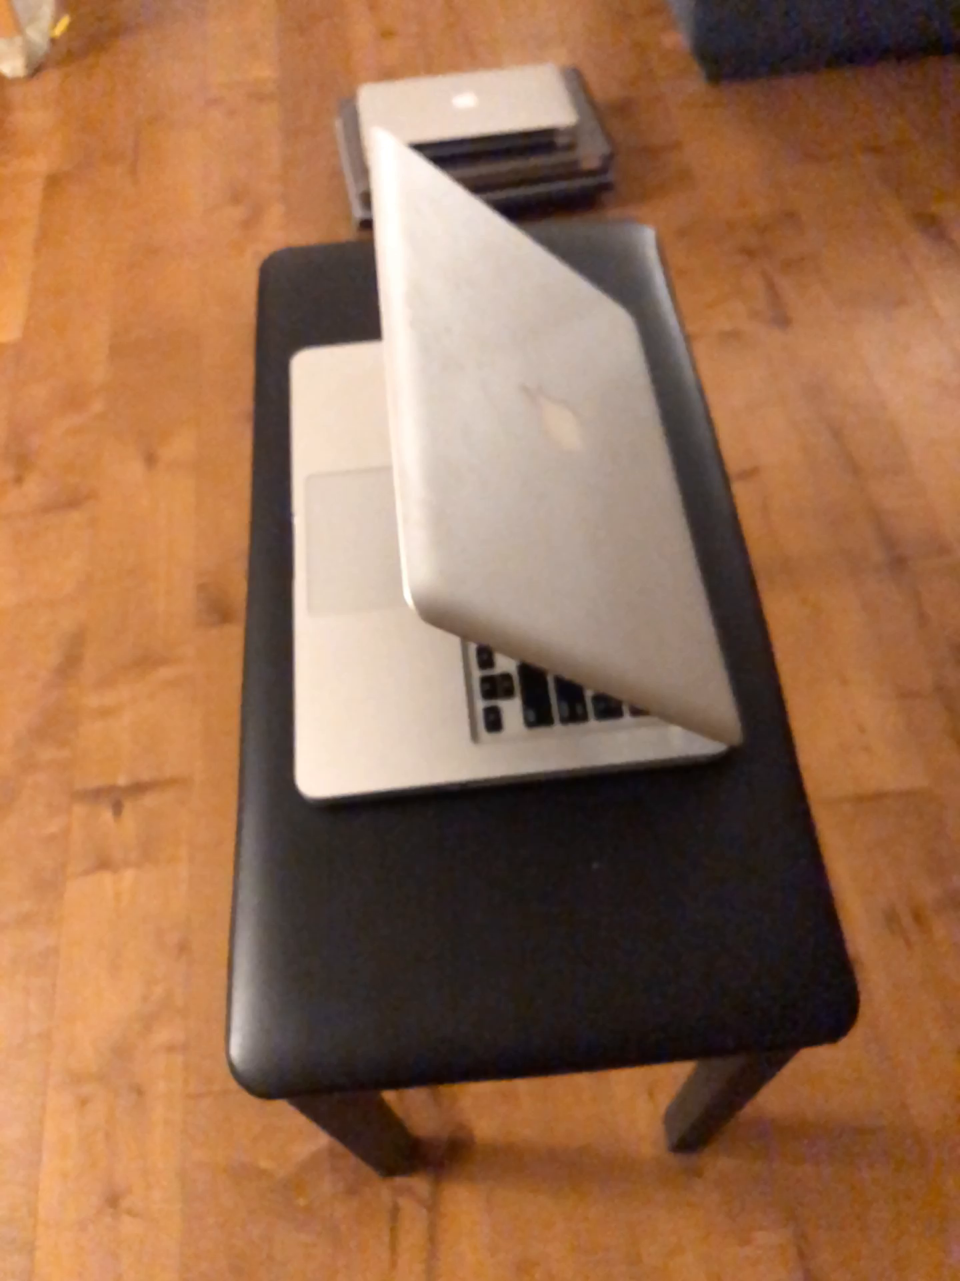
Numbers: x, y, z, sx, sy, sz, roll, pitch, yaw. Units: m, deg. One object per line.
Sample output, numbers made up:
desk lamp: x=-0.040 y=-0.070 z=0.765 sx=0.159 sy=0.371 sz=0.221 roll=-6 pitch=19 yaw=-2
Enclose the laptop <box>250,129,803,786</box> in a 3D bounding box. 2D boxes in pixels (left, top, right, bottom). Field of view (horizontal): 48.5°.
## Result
laptop: x=0.012 y=-0.104 z=0.552 sx=0.208 sy=0.144 sz=0.311 roll=-5 pitch=55 yaw=0
